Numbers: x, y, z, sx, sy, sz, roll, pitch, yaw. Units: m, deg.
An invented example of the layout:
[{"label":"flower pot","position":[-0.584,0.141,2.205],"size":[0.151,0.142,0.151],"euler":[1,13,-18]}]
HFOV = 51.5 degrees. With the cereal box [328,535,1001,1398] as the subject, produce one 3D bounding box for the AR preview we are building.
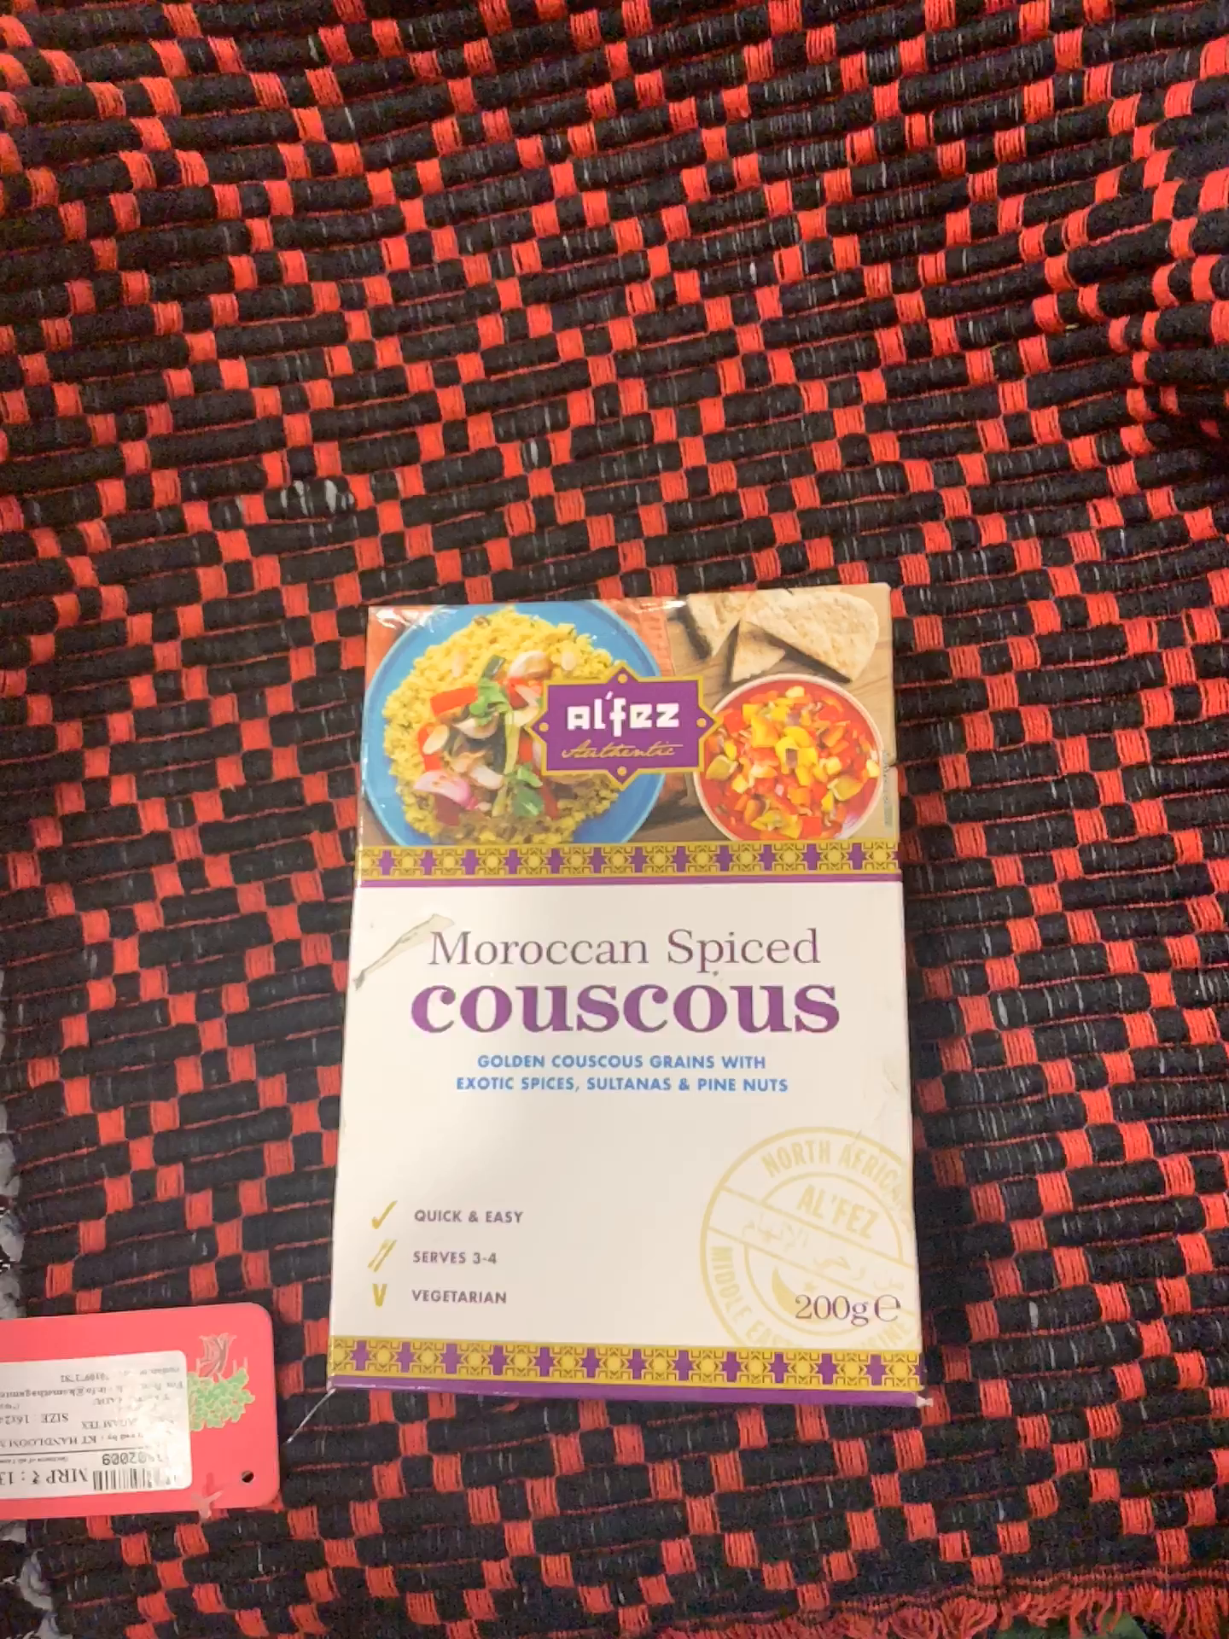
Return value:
[{"label":"cereal box","position":[0.011,0.028,0.268],"size":[0.120,0.050,0.160],"euler":[-1,77,7]}]
